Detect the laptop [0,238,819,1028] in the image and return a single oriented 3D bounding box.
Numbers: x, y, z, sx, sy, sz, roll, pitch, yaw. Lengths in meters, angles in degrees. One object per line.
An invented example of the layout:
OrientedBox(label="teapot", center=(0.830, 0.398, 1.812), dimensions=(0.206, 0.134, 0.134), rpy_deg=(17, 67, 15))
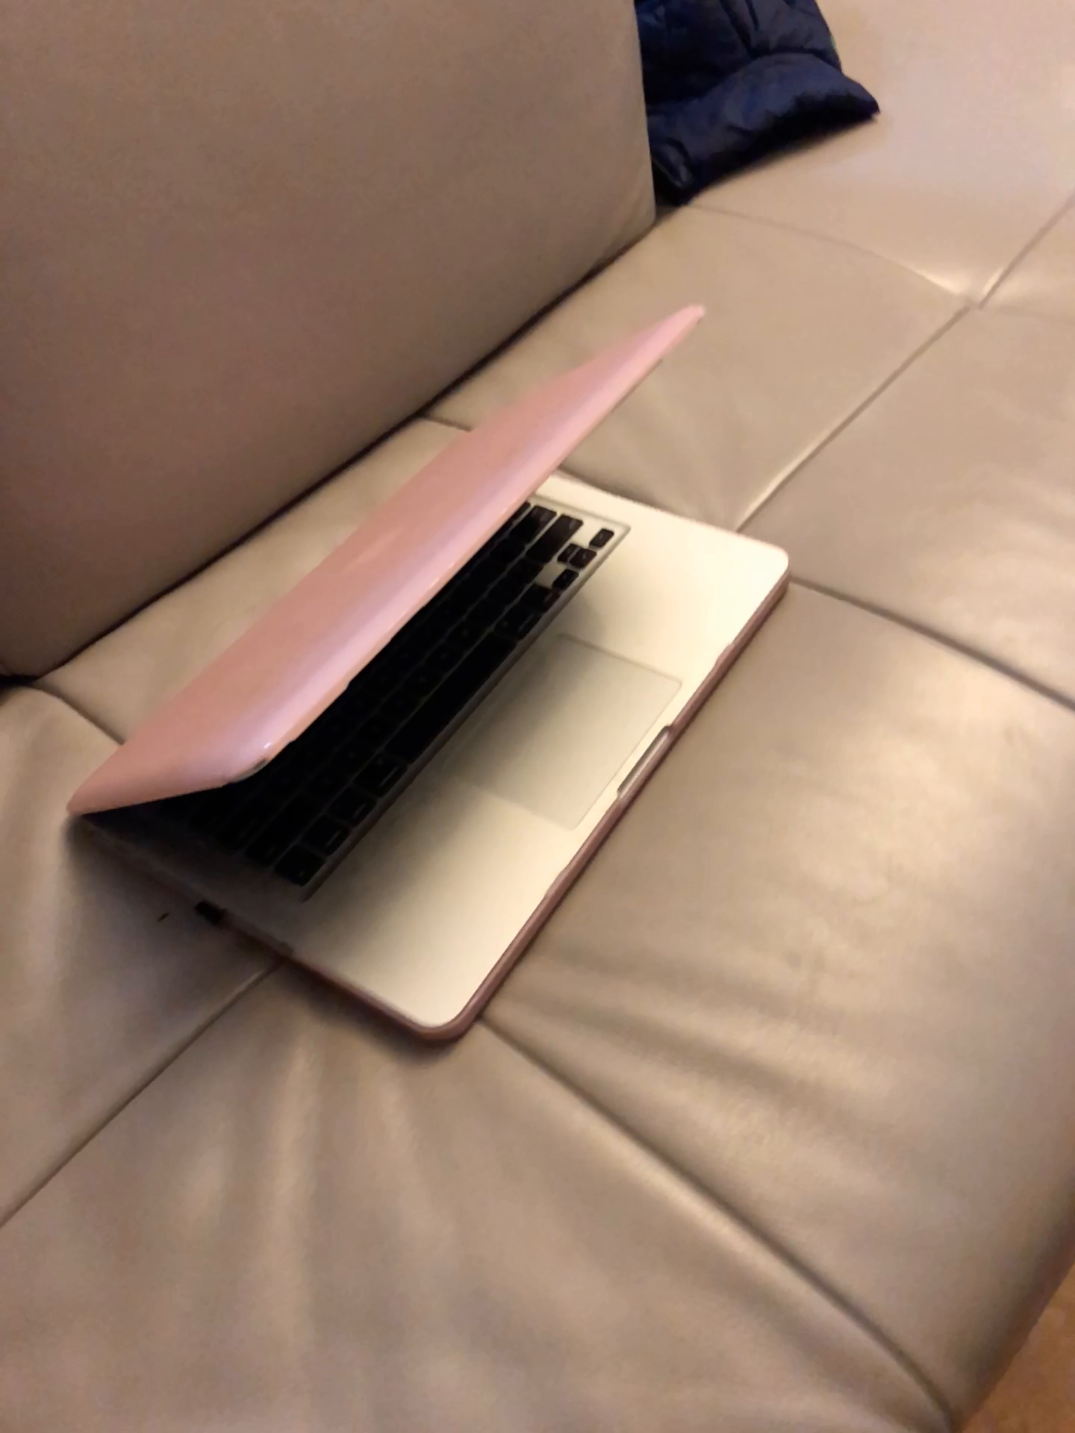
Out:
OrientedBox(label="laptop", center=(-0.048, -0.061, 0.538), dimensions=(0.220, 0.145, 0.308), rpy_deg=(23, 56, 25))
